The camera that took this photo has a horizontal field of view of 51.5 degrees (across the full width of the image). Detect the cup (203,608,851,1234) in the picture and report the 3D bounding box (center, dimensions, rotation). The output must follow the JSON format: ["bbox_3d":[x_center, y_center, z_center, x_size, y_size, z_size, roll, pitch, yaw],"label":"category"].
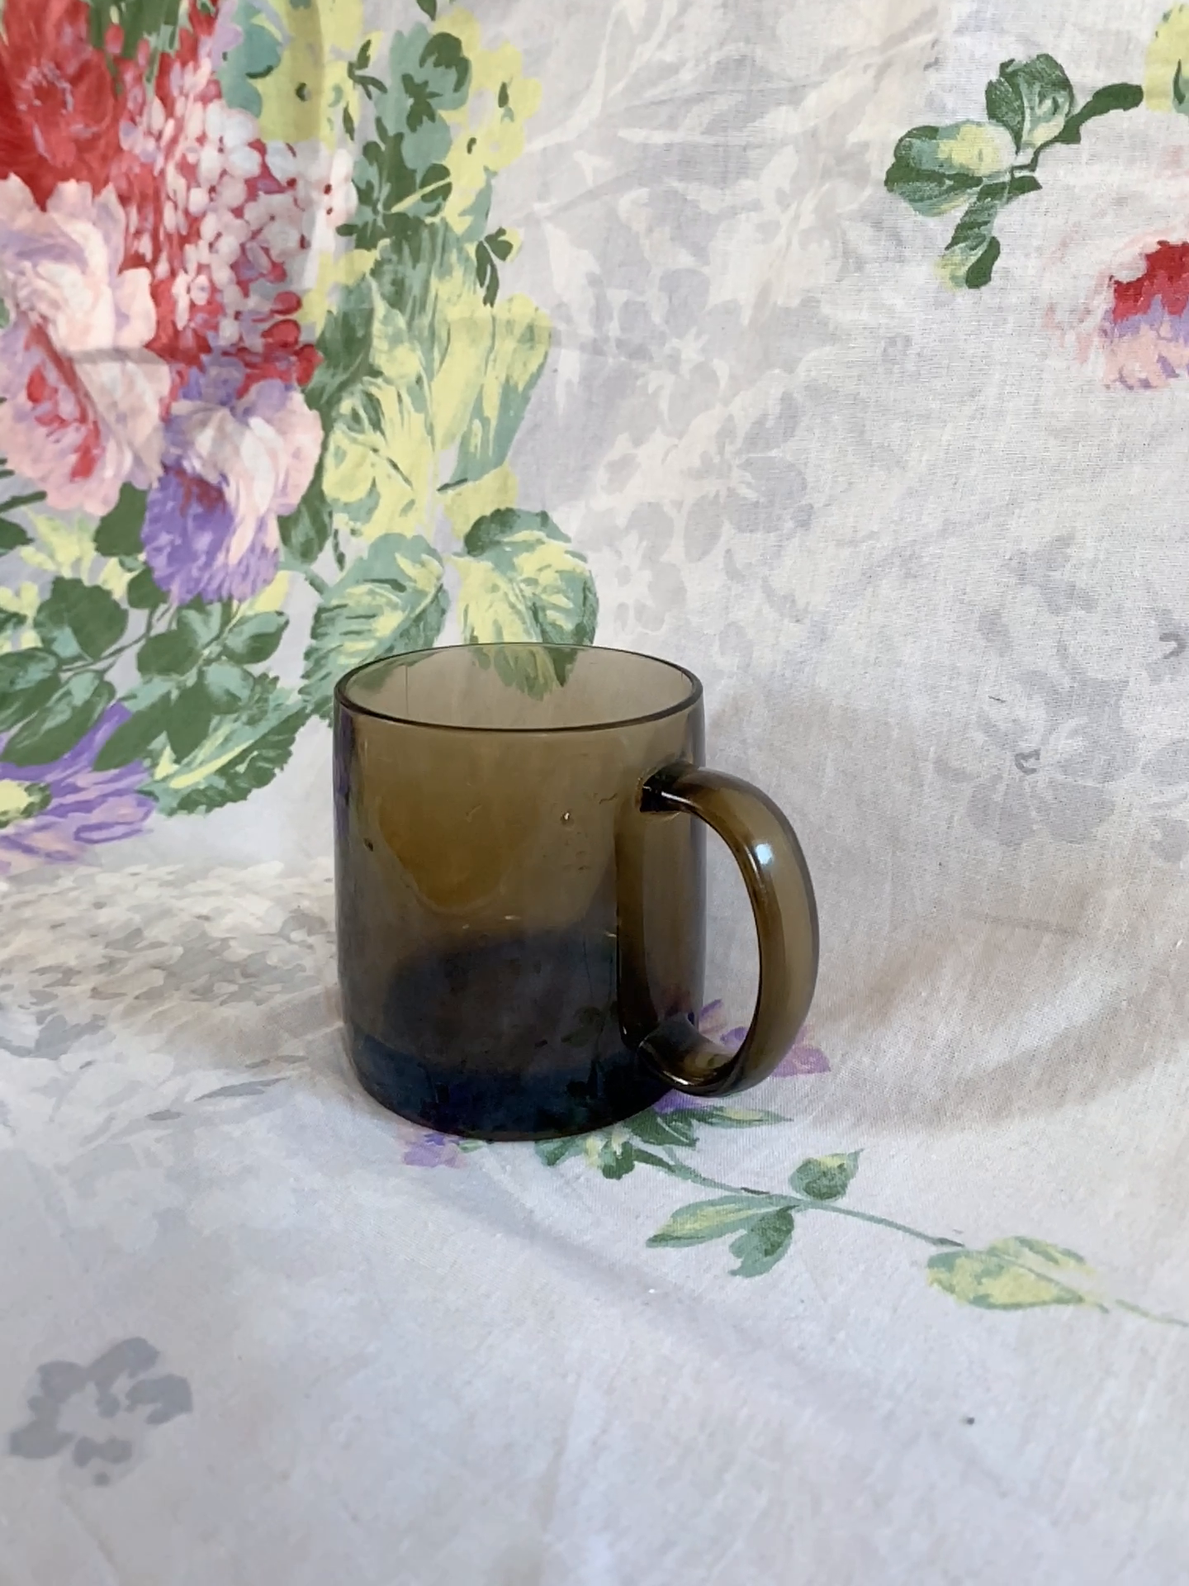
[{"bbox_3d":[-0.015,0.017,0.287,0.120,0.099,0.082,11,21,36],"label":"cup"}]
